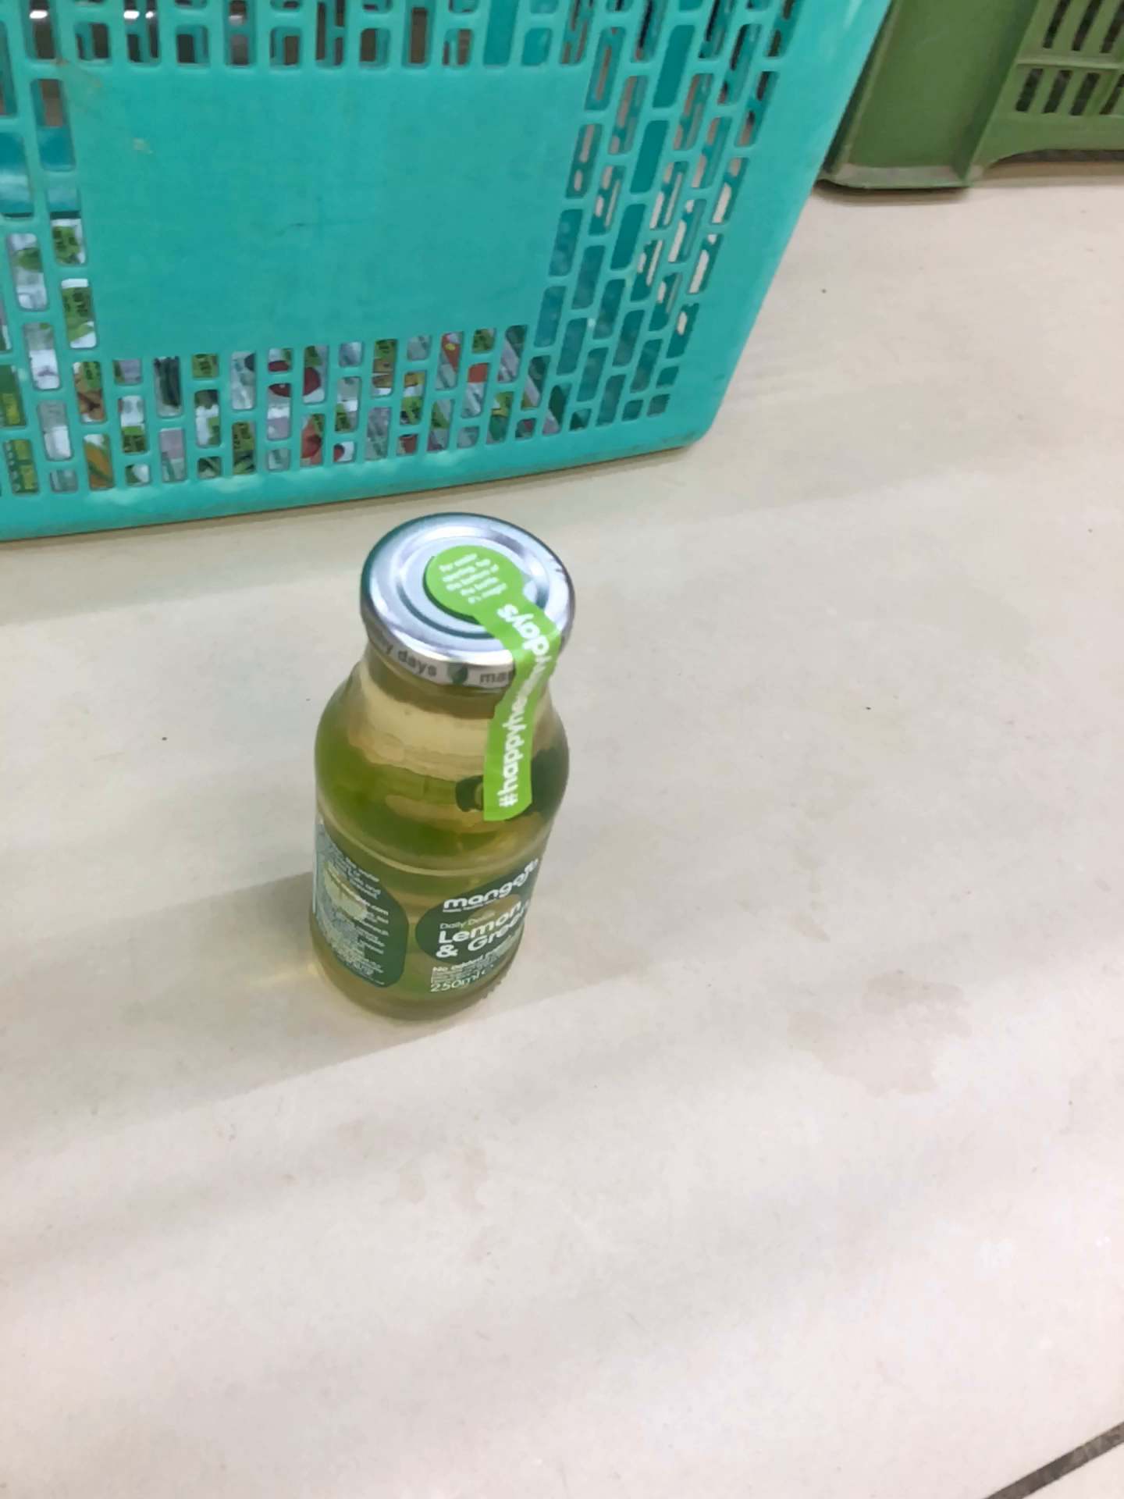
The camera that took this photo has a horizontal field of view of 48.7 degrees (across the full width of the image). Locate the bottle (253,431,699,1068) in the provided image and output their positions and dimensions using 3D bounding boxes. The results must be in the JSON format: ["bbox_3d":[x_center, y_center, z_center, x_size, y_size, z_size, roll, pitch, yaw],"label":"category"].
[{"bbox_3d":[-0.031,0.007,0.320,0.070,0.149,0.070,6,51,-8],"label":"bottle"}]
